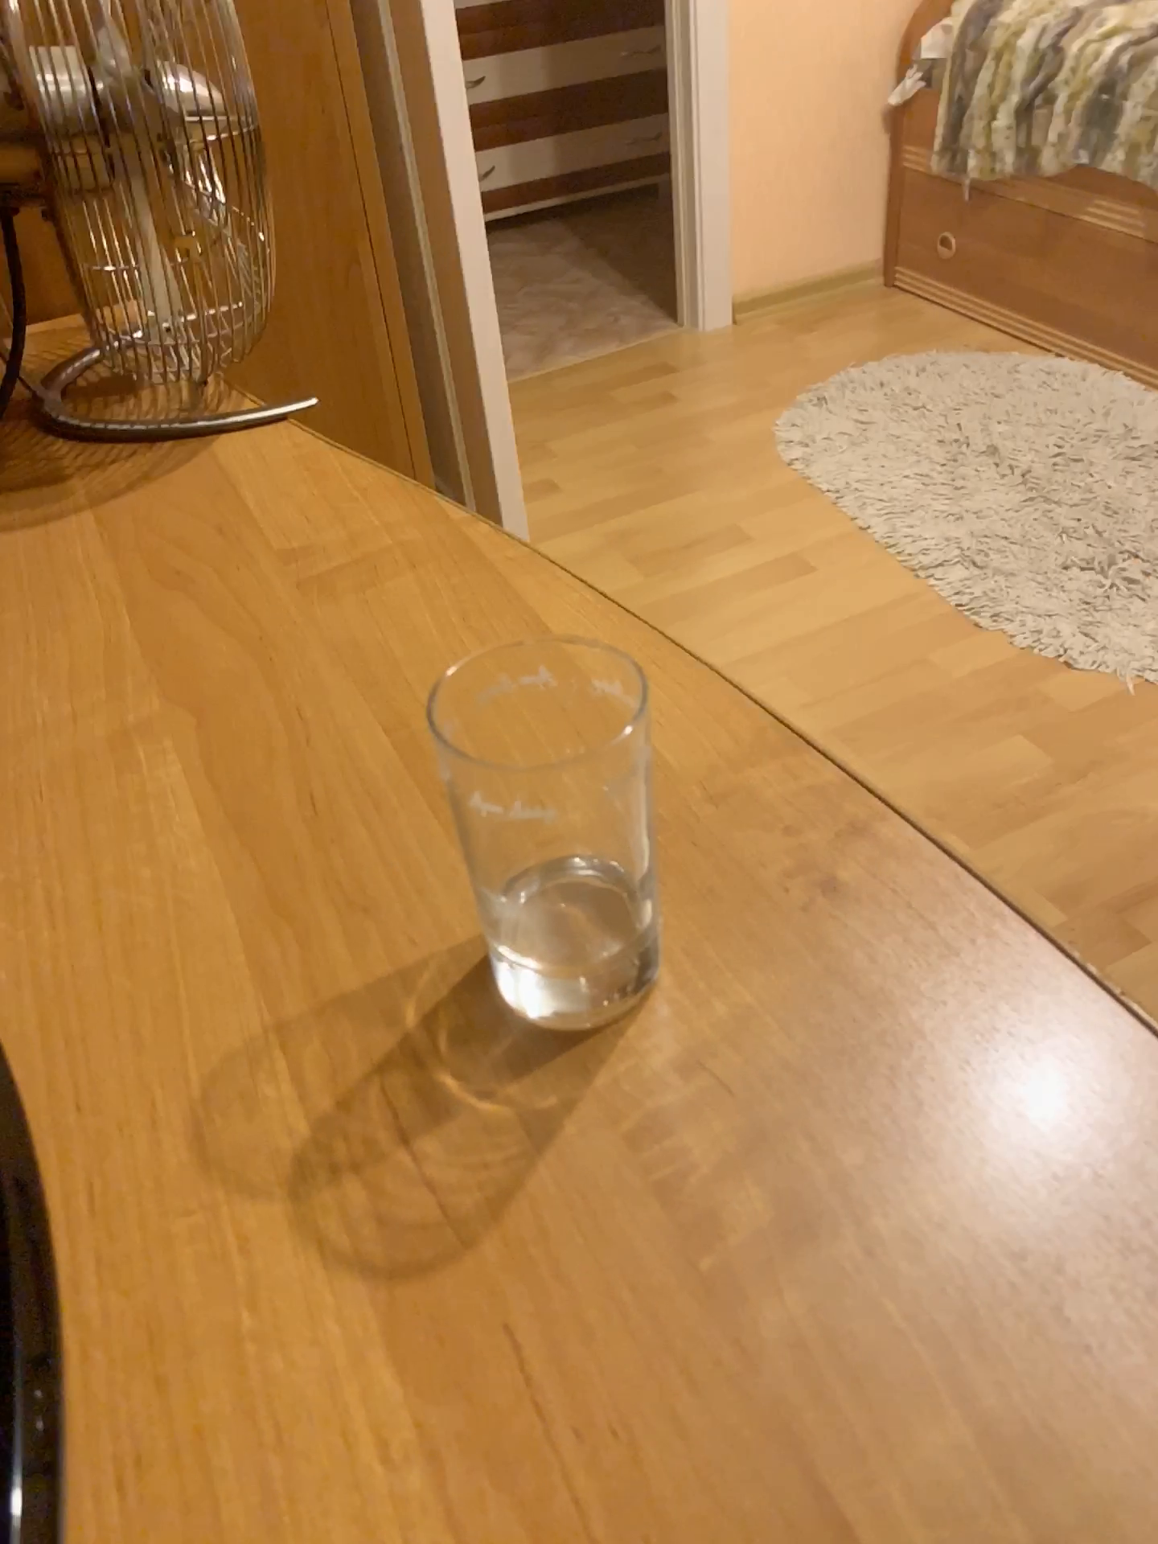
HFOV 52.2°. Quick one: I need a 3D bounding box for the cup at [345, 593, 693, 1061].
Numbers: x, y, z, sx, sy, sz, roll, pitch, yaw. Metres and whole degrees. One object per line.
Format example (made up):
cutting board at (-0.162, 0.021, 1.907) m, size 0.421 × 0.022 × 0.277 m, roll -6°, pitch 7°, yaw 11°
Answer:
cup at (-0.010, 0.015, 0.316) m, size 0.060 × 0.099 × 0.060 m, roll -4°, pitch 40°, yaw 4°
